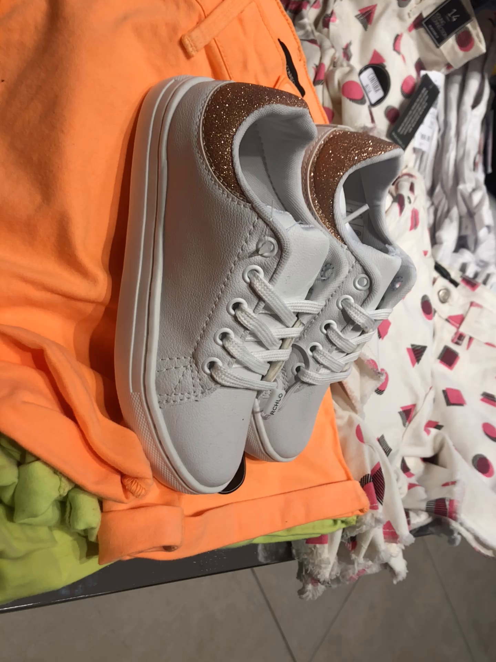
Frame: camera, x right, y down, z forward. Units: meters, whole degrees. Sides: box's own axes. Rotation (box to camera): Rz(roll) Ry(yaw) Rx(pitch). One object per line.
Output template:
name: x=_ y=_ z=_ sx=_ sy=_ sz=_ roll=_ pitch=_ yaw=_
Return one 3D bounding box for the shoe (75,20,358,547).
shoe: x=-0.013 y=-0.021 z=0.269 sx=0.080 sy=0.070 sz=0.210 roll=0 pitch=102 yaw=-63

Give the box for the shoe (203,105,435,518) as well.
shoe: x=0.040 y=-0.012 z=0.328 sx=0.081 sy=0.070 sz=0.210 roll=-2 pitch=104 yaw=-49
